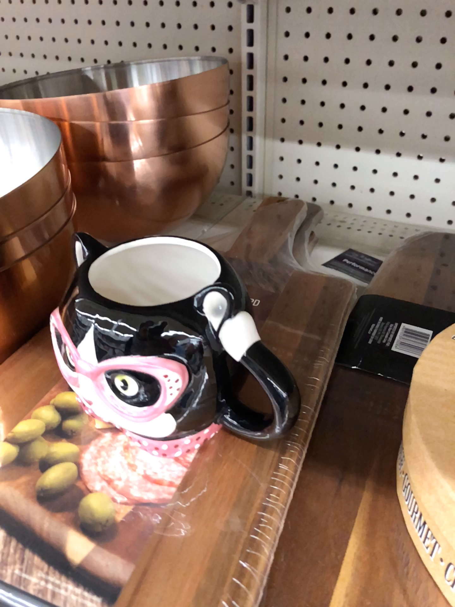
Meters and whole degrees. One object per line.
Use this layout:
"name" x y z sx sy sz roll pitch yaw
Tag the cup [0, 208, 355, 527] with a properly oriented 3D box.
"cup" -0.027 0.019 0.256 0.150 0.080 0.080 21 40 29
